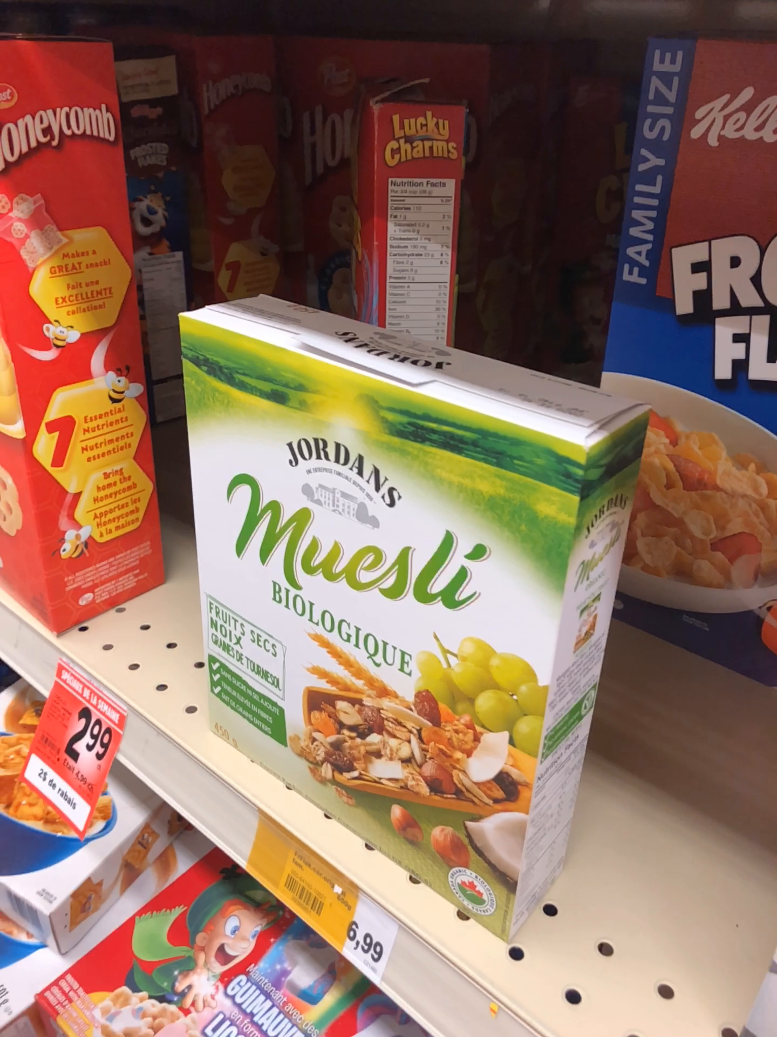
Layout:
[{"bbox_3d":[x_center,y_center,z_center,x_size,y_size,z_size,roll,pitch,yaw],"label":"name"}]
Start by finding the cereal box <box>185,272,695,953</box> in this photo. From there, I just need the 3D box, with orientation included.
[{"bbox_3d":[0.004,0.032,0.345,0.181,0.218,0.050,24,36,33],"label":"cereal box"}]
